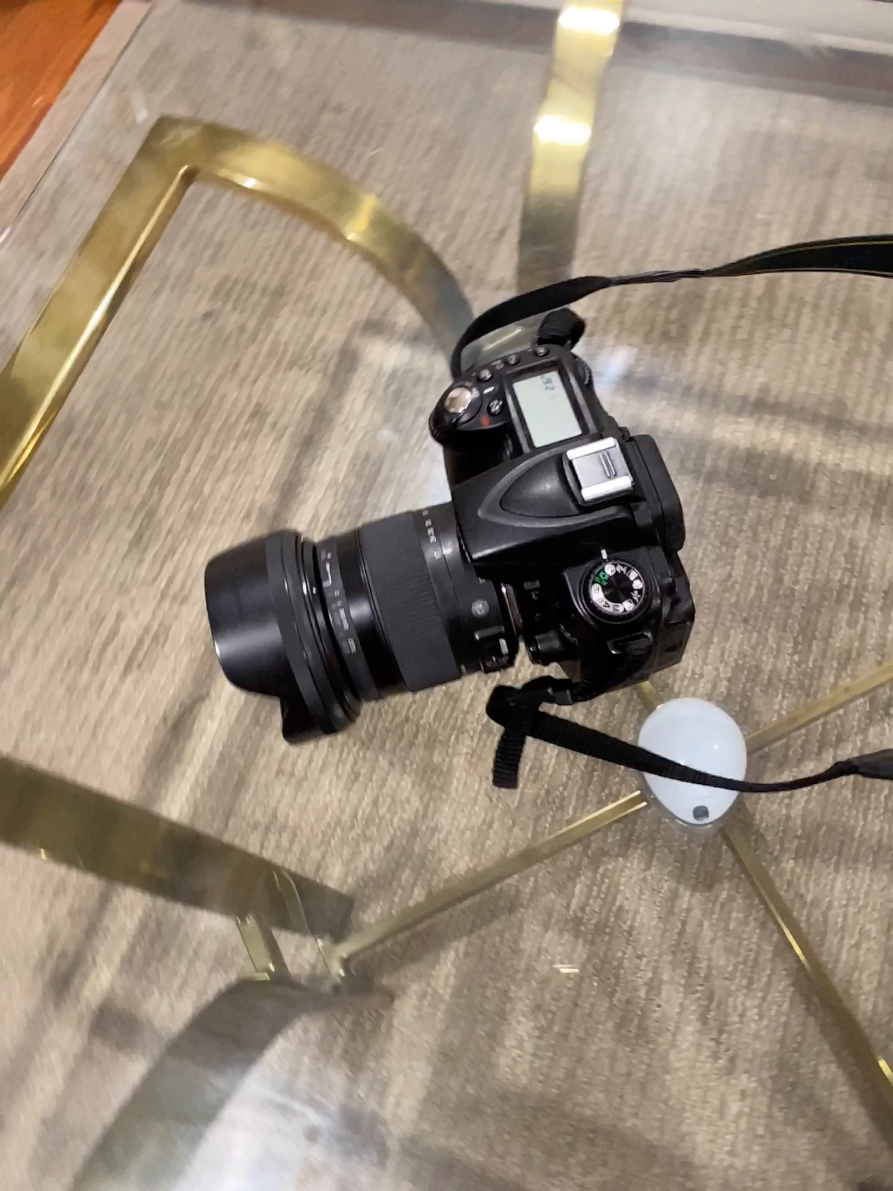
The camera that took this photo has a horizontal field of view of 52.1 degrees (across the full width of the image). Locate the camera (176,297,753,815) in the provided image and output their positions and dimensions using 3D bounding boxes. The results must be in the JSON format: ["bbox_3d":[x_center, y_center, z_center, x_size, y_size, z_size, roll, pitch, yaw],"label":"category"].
[{"bbox_3d":[0.005,-0.009,0.387,0.180,0.120,0.130,-18,65,-1],"label":"camera"}]
